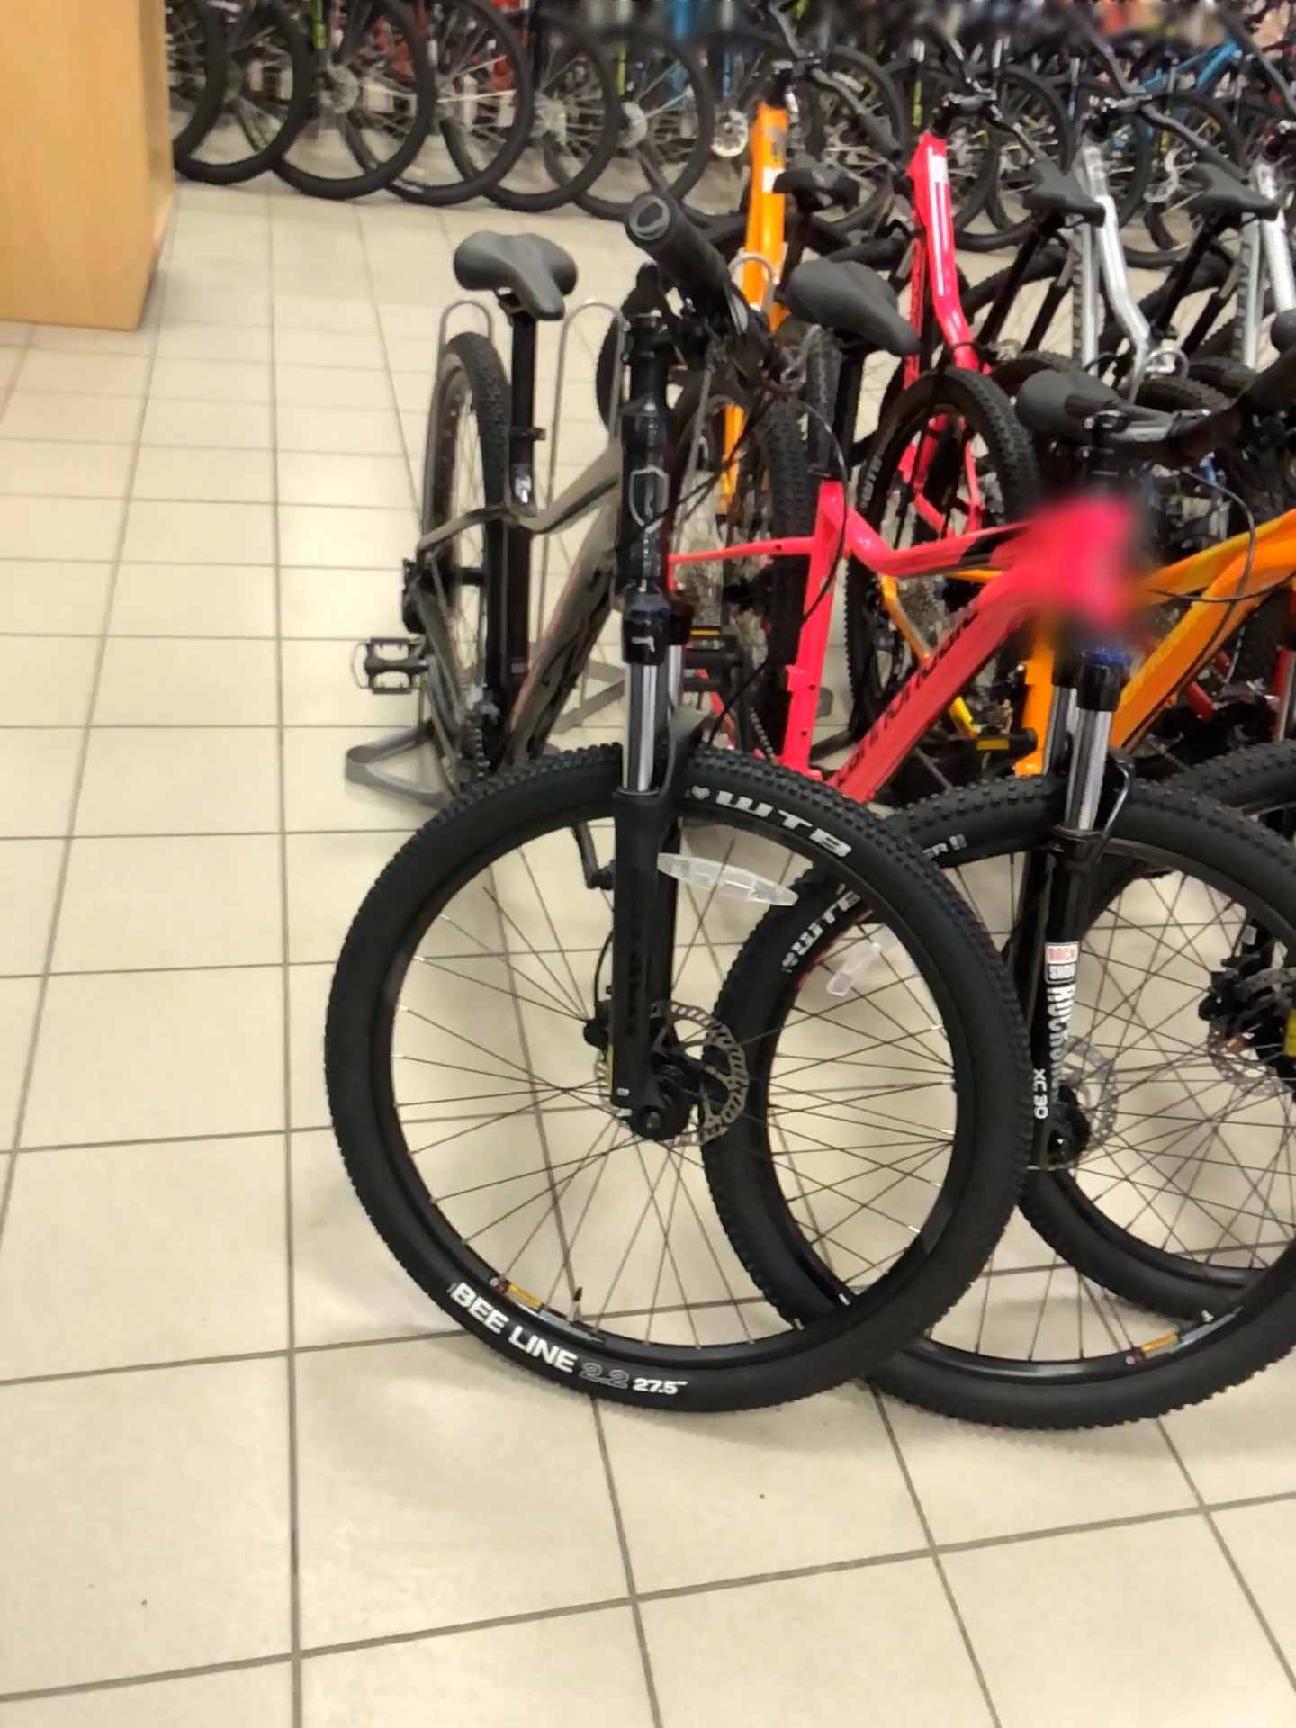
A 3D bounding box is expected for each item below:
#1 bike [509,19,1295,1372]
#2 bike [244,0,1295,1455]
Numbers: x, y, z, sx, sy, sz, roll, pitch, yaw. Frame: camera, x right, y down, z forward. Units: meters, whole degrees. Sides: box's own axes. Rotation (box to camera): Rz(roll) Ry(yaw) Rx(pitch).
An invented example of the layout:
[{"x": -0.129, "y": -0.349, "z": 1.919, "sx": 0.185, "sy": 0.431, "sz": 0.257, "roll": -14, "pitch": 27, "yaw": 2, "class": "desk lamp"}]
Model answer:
[{"x": 0.487, "y": -0.330, "z": 1.835, "sx": 0.653, "sy": 1.074, "sz": 1.570, "roll": -9, "pitch": 38, "yaw": -24, "class": "bike"}, {"x": 0.086, "y": -0.307, "z": 1.776, "sx": 0.685, "sy": 1.101, "sz": 1.585, "roll": -9, "pitch": 41, "yaw": -24, "class": "bike"}]
